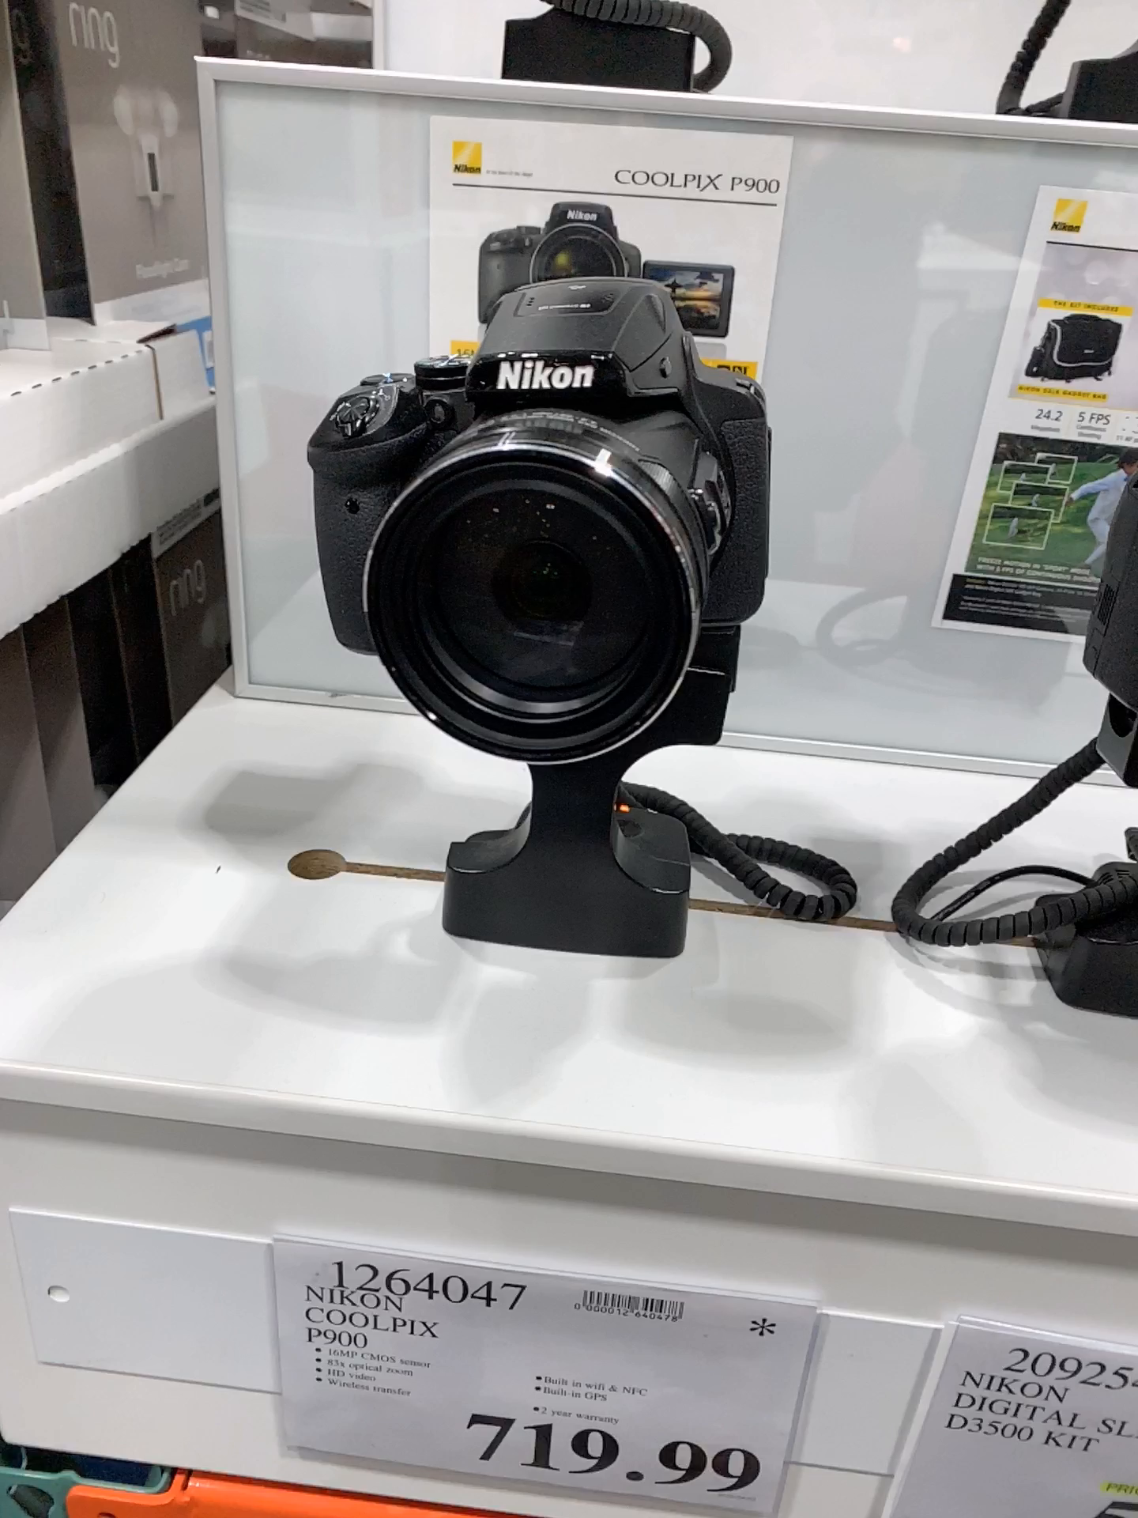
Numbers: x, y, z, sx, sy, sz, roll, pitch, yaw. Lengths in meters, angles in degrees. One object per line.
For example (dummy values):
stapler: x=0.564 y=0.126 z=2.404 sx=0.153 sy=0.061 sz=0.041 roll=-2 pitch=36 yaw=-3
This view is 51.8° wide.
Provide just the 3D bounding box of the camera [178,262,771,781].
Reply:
camera: x=-0.011 y=-0.081 z=0.342 sx=0.130 sy=0.109 sz=0.151 roll=3 pitch=26 yaw=8
